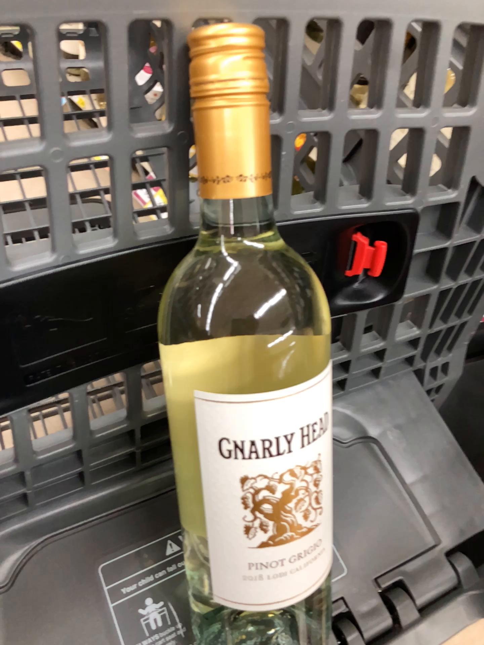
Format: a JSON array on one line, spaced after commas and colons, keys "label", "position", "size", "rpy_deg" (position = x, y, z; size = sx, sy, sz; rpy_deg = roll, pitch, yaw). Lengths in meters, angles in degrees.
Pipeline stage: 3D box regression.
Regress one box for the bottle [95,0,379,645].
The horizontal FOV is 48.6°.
[{"label": "bottle", "position": [0.003, 0.023, 0.238], "size": [0.080, 0.070, 0.280], "rpy_deg": [-12, 107, -22]}]
